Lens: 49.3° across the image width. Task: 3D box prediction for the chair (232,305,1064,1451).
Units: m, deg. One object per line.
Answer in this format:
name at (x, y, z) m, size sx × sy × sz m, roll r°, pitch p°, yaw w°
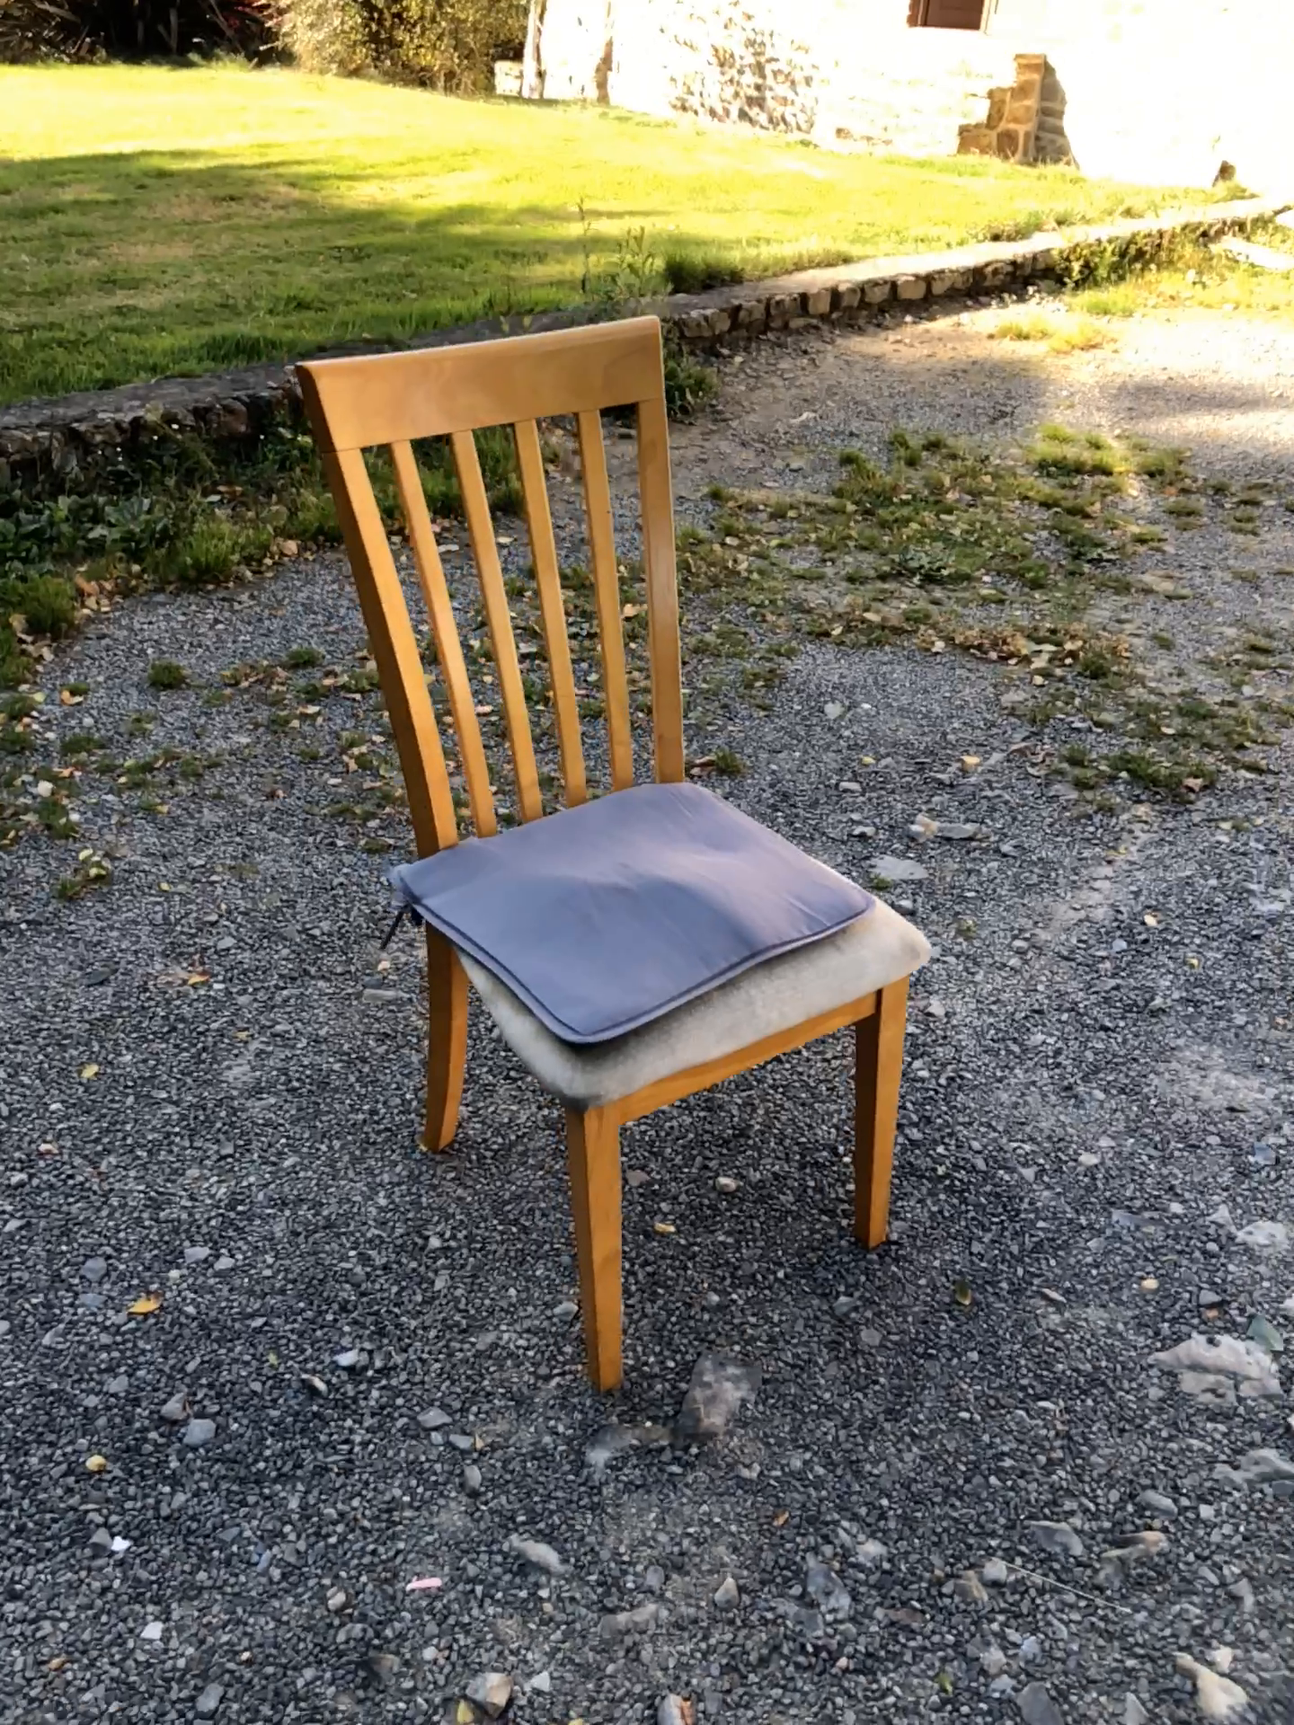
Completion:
chair at (-0.042, -0.016, 1.557) m, size 0.512 × 0.993 × 0.611 m, roll -18°, pitch 37°, yaw -31°
